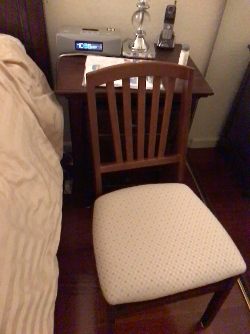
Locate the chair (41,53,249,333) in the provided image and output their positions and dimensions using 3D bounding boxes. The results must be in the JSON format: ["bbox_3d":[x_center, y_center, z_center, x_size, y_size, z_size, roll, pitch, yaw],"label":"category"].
[{"bbox_3d":[0.091,0.220,1.067,0.621,1.032,0.694,-9,45,-16],"label":"chair"}]
